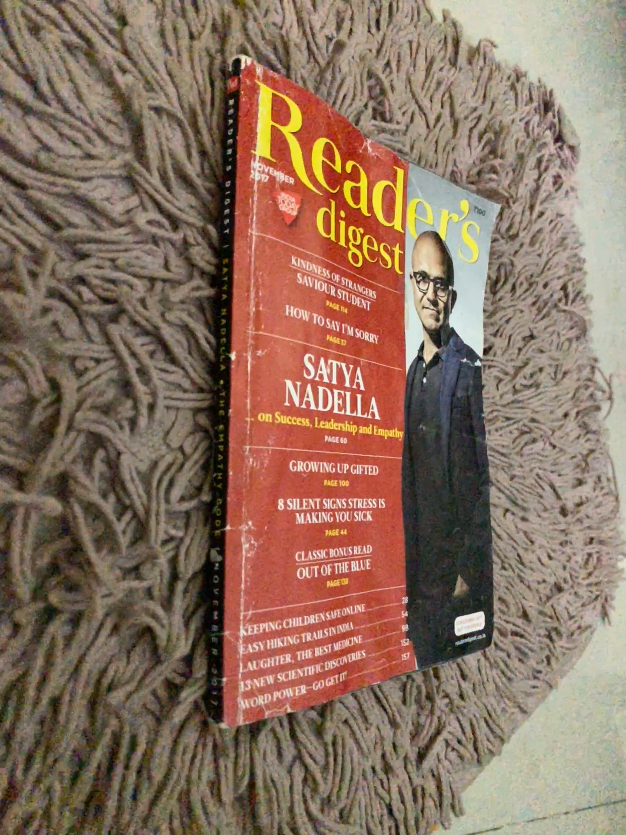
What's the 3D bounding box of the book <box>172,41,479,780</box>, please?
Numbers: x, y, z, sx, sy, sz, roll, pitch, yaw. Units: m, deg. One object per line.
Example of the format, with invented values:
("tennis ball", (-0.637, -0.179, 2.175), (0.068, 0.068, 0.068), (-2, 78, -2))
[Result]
("book", (0.013, -0.002, 0.214), (0.131, 0.020, 0.180), (9, 77, -51))
